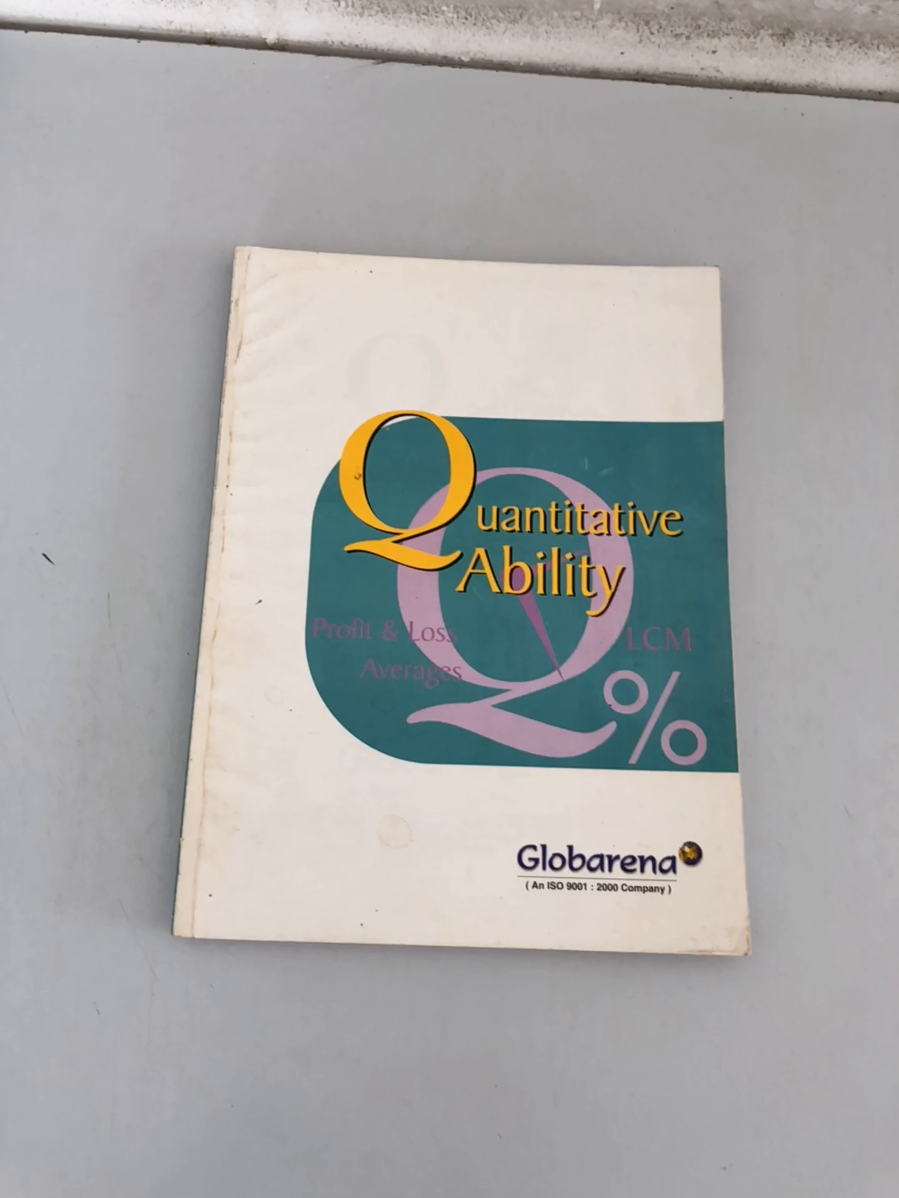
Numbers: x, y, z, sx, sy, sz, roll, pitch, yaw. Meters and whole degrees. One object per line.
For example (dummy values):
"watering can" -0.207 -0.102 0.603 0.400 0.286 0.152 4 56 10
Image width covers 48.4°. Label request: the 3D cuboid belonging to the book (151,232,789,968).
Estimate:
"book" 0.010 -0.007 0.336 0.190 0.020 0.240 2 76 -2
